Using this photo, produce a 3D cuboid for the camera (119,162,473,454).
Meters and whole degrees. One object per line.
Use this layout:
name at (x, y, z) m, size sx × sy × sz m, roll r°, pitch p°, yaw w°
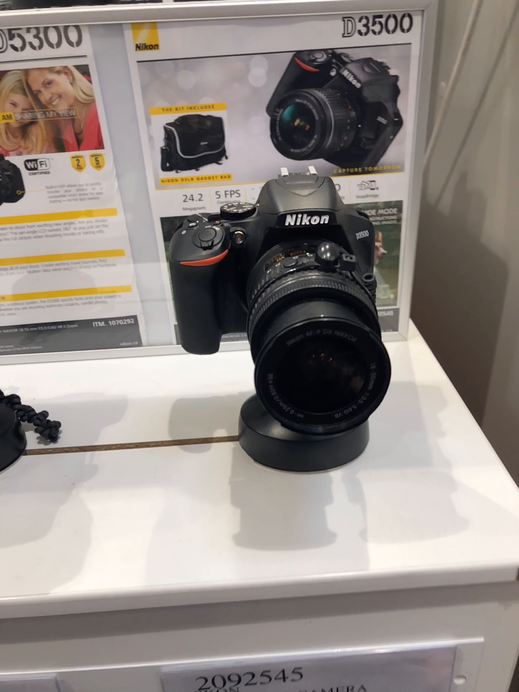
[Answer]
camera at (0.012, -0.030, 0.292) m, size 0.130 × 0.089 × 0.141 m, roll -4°, pitch 29°, yaw -2°
